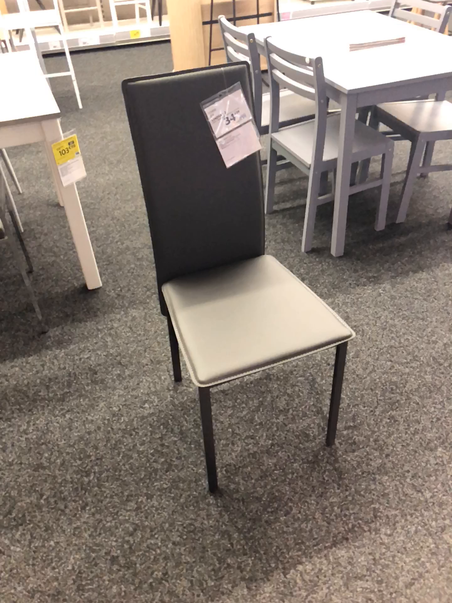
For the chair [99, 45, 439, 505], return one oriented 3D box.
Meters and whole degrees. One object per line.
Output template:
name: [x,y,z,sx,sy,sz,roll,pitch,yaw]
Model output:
chair: [0.053,-0.052,1.264,0.471,0.935,0.562,-16,41,-15]
